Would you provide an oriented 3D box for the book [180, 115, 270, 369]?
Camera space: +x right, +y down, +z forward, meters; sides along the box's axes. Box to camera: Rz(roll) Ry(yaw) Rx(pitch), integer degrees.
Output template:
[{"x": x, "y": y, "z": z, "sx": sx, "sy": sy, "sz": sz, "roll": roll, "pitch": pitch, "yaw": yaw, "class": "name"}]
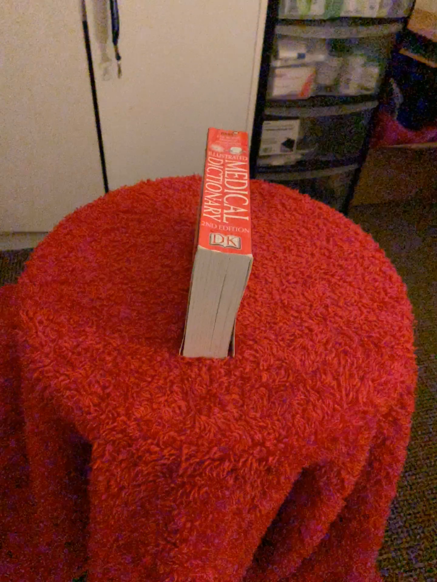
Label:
[{"x": 0.004, "y": -0.057, "z": 0.432, "sx": 0.050, "sy": 0.129, "sz": 0.222, "roll": 8, "pitch": 43, "yaw": -5, "class": "book"}]
